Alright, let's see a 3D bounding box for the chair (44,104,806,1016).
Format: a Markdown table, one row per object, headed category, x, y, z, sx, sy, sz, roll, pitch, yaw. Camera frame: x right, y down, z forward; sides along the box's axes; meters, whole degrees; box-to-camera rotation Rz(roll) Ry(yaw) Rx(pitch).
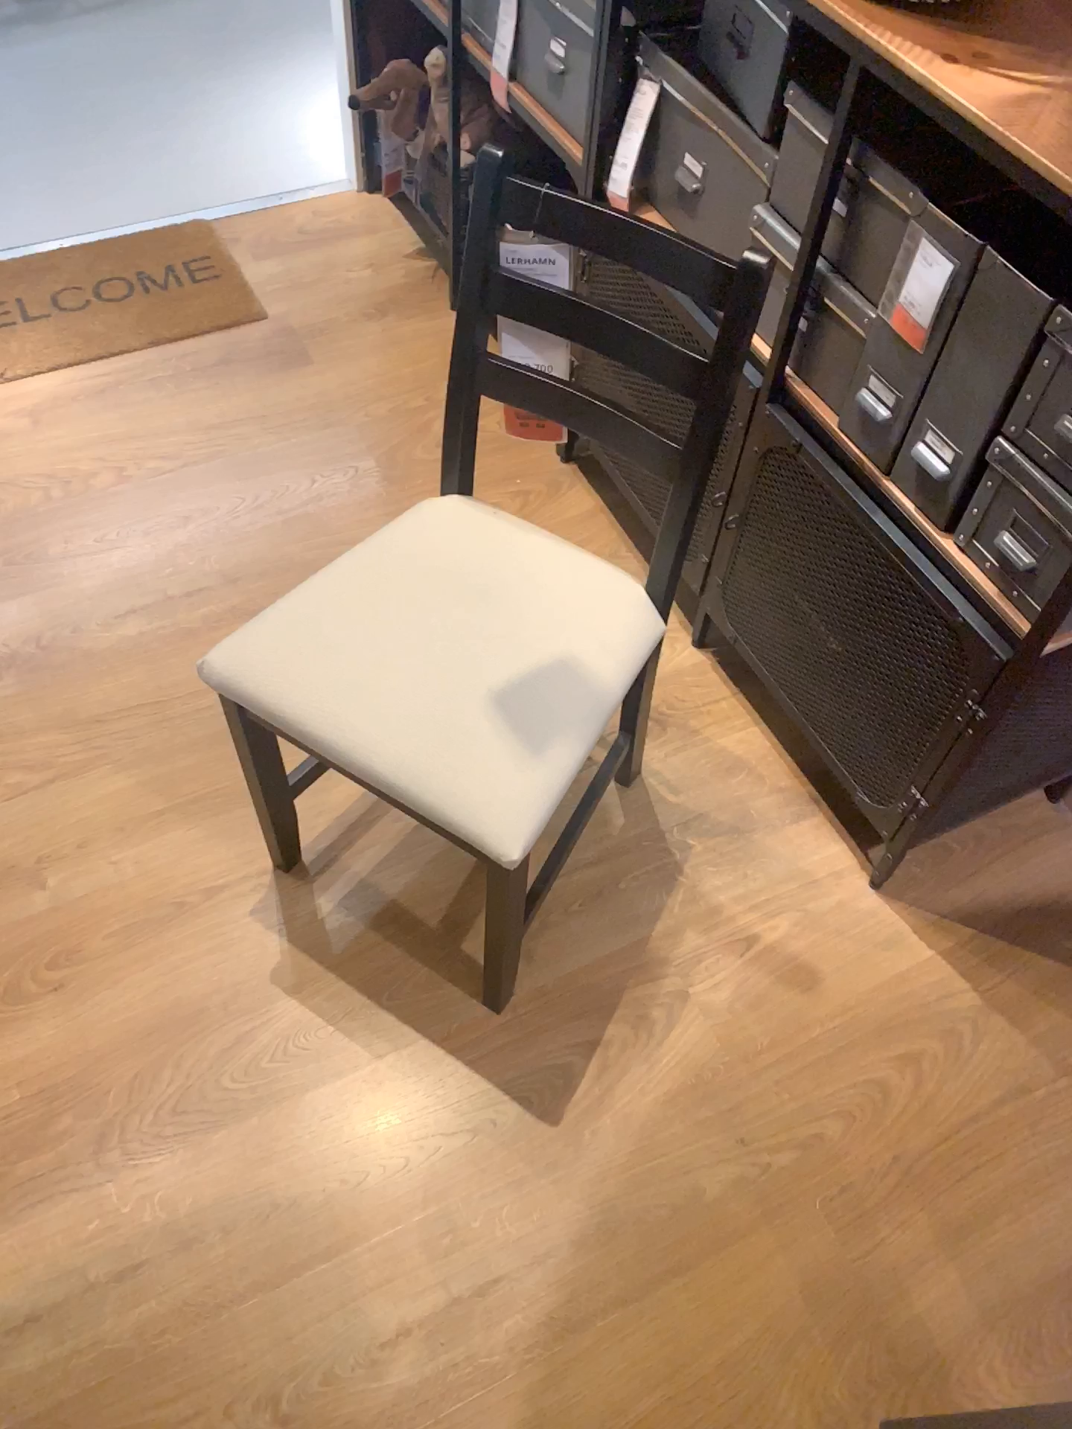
| category | x | y | z | sx | sy | sz | roll | pitch | yaw |
| --- | --- | --- | --- | --- | --- | --- | --- | --- | --- |
| chair | -0.085 | -0.113 | 1.177 | 0.400 | 0.768 | 0.471 | 30 | 58 | 18 |
